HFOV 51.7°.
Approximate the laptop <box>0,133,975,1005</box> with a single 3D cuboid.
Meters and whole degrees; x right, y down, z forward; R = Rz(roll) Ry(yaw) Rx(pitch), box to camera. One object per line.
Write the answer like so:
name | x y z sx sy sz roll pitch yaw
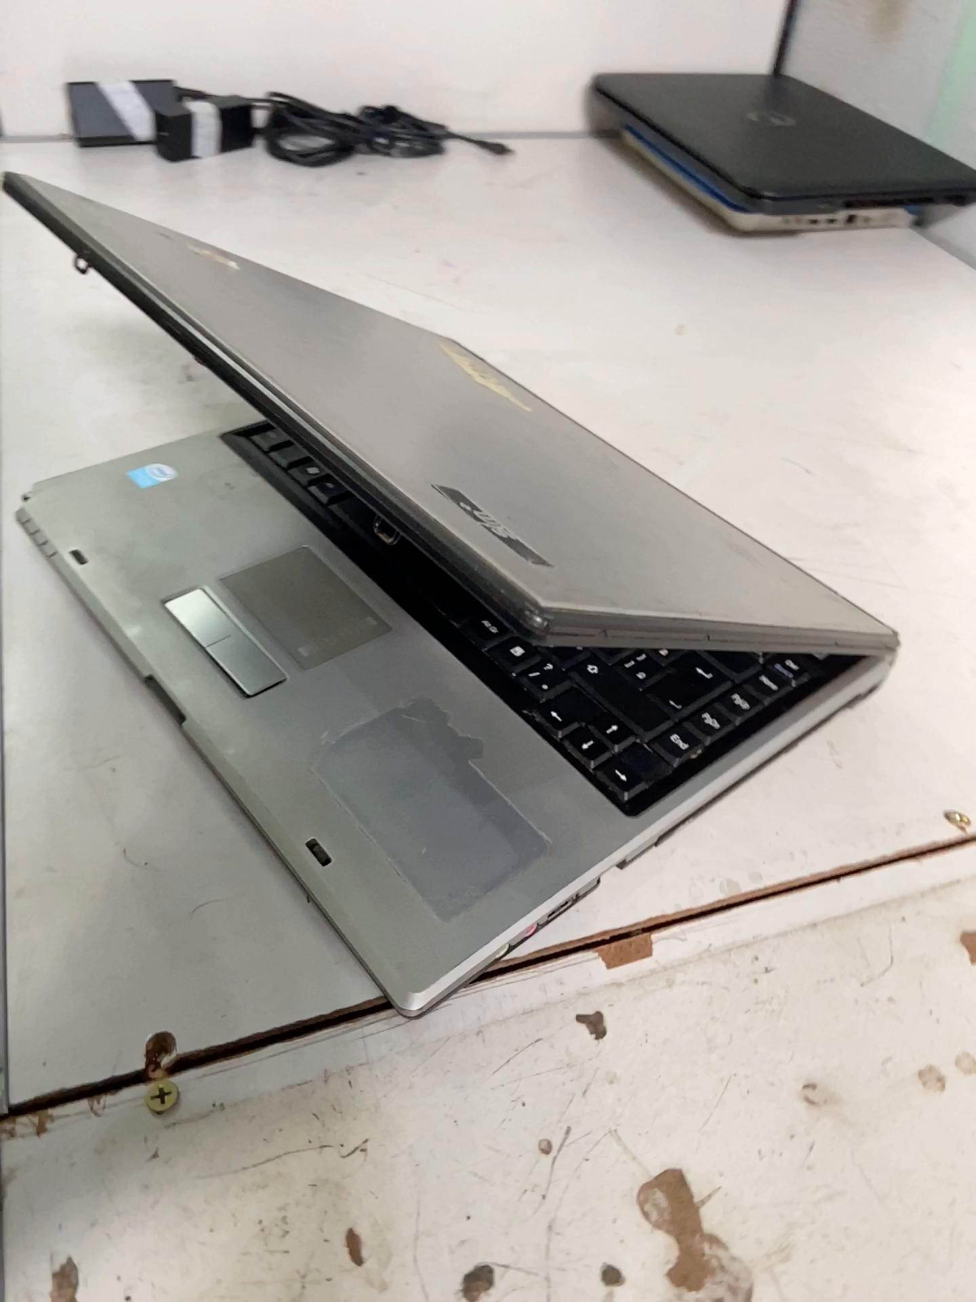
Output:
laptop | -0.017 -0.082 0.415 0.254 0.130 0.317 -26 50 -29
